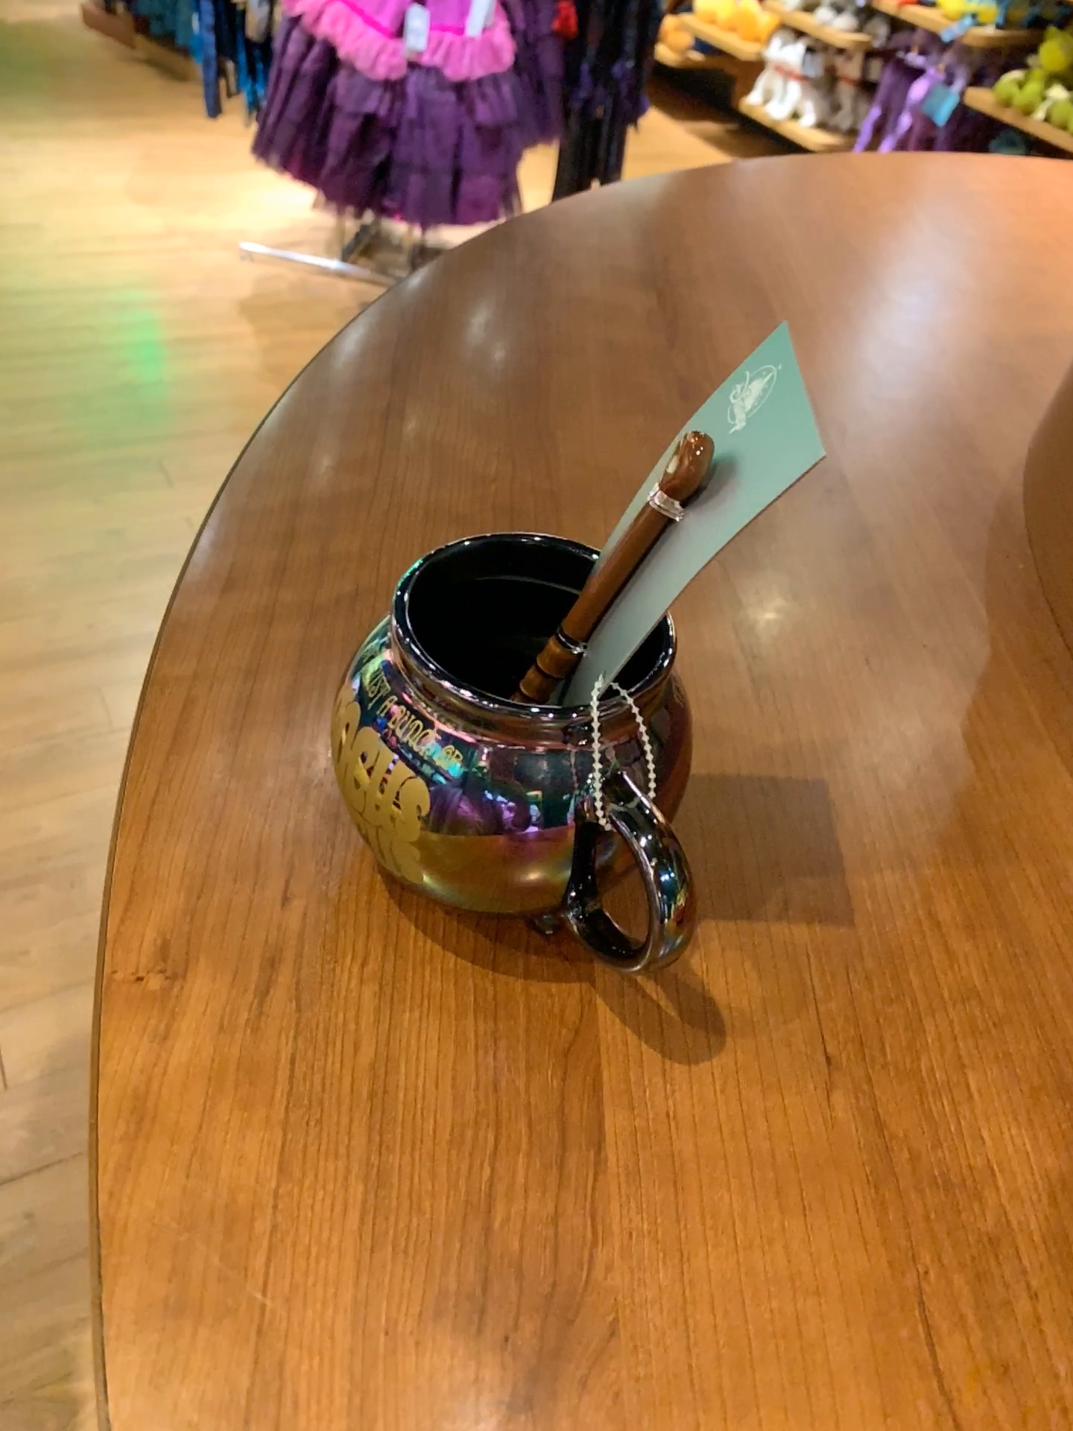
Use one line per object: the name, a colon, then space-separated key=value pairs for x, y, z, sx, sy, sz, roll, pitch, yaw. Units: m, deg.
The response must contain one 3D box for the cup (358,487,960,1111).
cup: x=0.023 y=0.015 z=0.325 sx=0.100 sy=0.089 sz=0.137 roll=-17 pitch=49 yaw=-27
